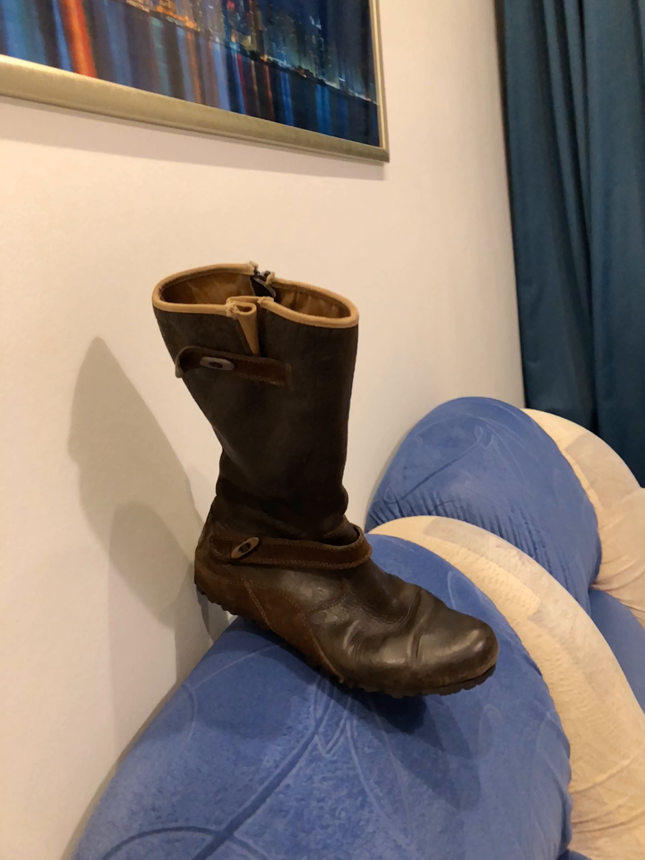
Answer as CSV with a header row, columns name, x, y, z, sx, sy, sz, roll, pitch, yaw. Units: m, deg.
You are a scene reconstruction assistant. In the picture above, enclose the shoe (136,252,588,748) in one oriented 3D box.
name,x,y,z,sx,sy,sz,roll,pitch,yaw
shoe,0.017,0.038,0.528,0.270,0.278,0.110,17,21,17
